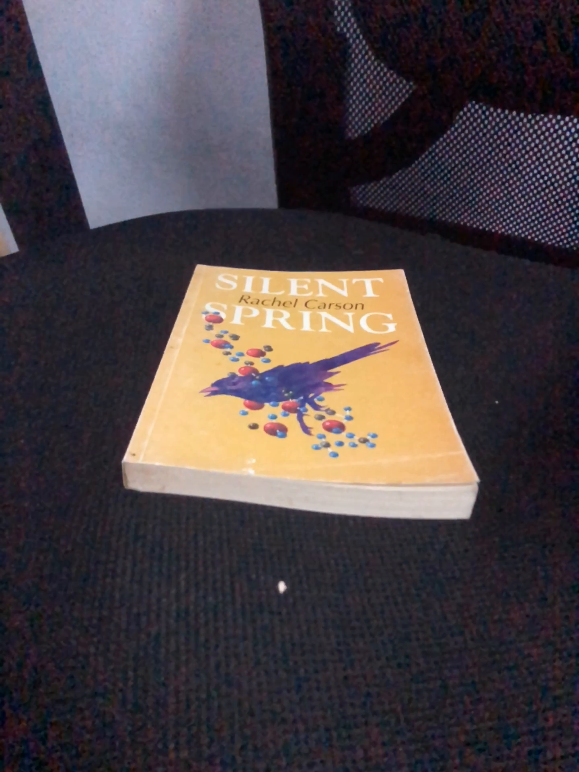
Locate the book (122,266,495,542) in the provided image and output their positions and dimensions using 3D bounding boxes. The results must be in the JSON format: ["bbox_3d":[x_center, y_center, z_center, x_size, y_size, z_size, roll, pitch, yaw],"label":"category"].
[{"bbox_3d":[0.009,-0.008,0.357,0.150,0.030,0.221,1,33,0],"label":"book"}]
